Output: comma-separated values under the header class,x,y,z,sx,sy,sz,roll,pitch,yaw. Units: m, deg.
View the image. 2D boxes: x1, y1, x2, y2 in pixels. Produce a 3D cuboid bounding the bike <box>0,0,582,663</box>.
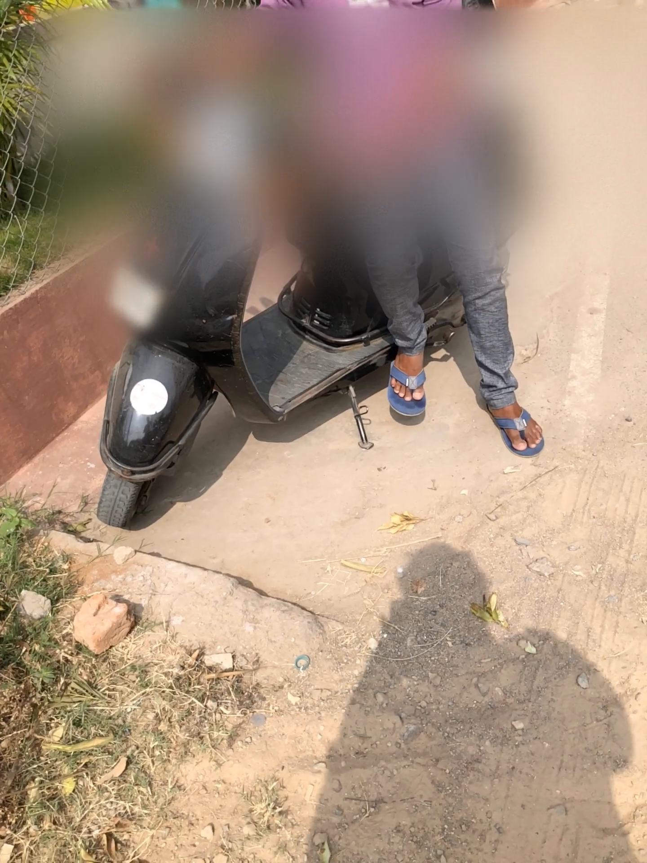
class,x,y,z,sx,sy,sz,roll,pitch,yaw
bike,-0.011,-0.456,1.901,0.709,1.154,1.554,23,48,40
